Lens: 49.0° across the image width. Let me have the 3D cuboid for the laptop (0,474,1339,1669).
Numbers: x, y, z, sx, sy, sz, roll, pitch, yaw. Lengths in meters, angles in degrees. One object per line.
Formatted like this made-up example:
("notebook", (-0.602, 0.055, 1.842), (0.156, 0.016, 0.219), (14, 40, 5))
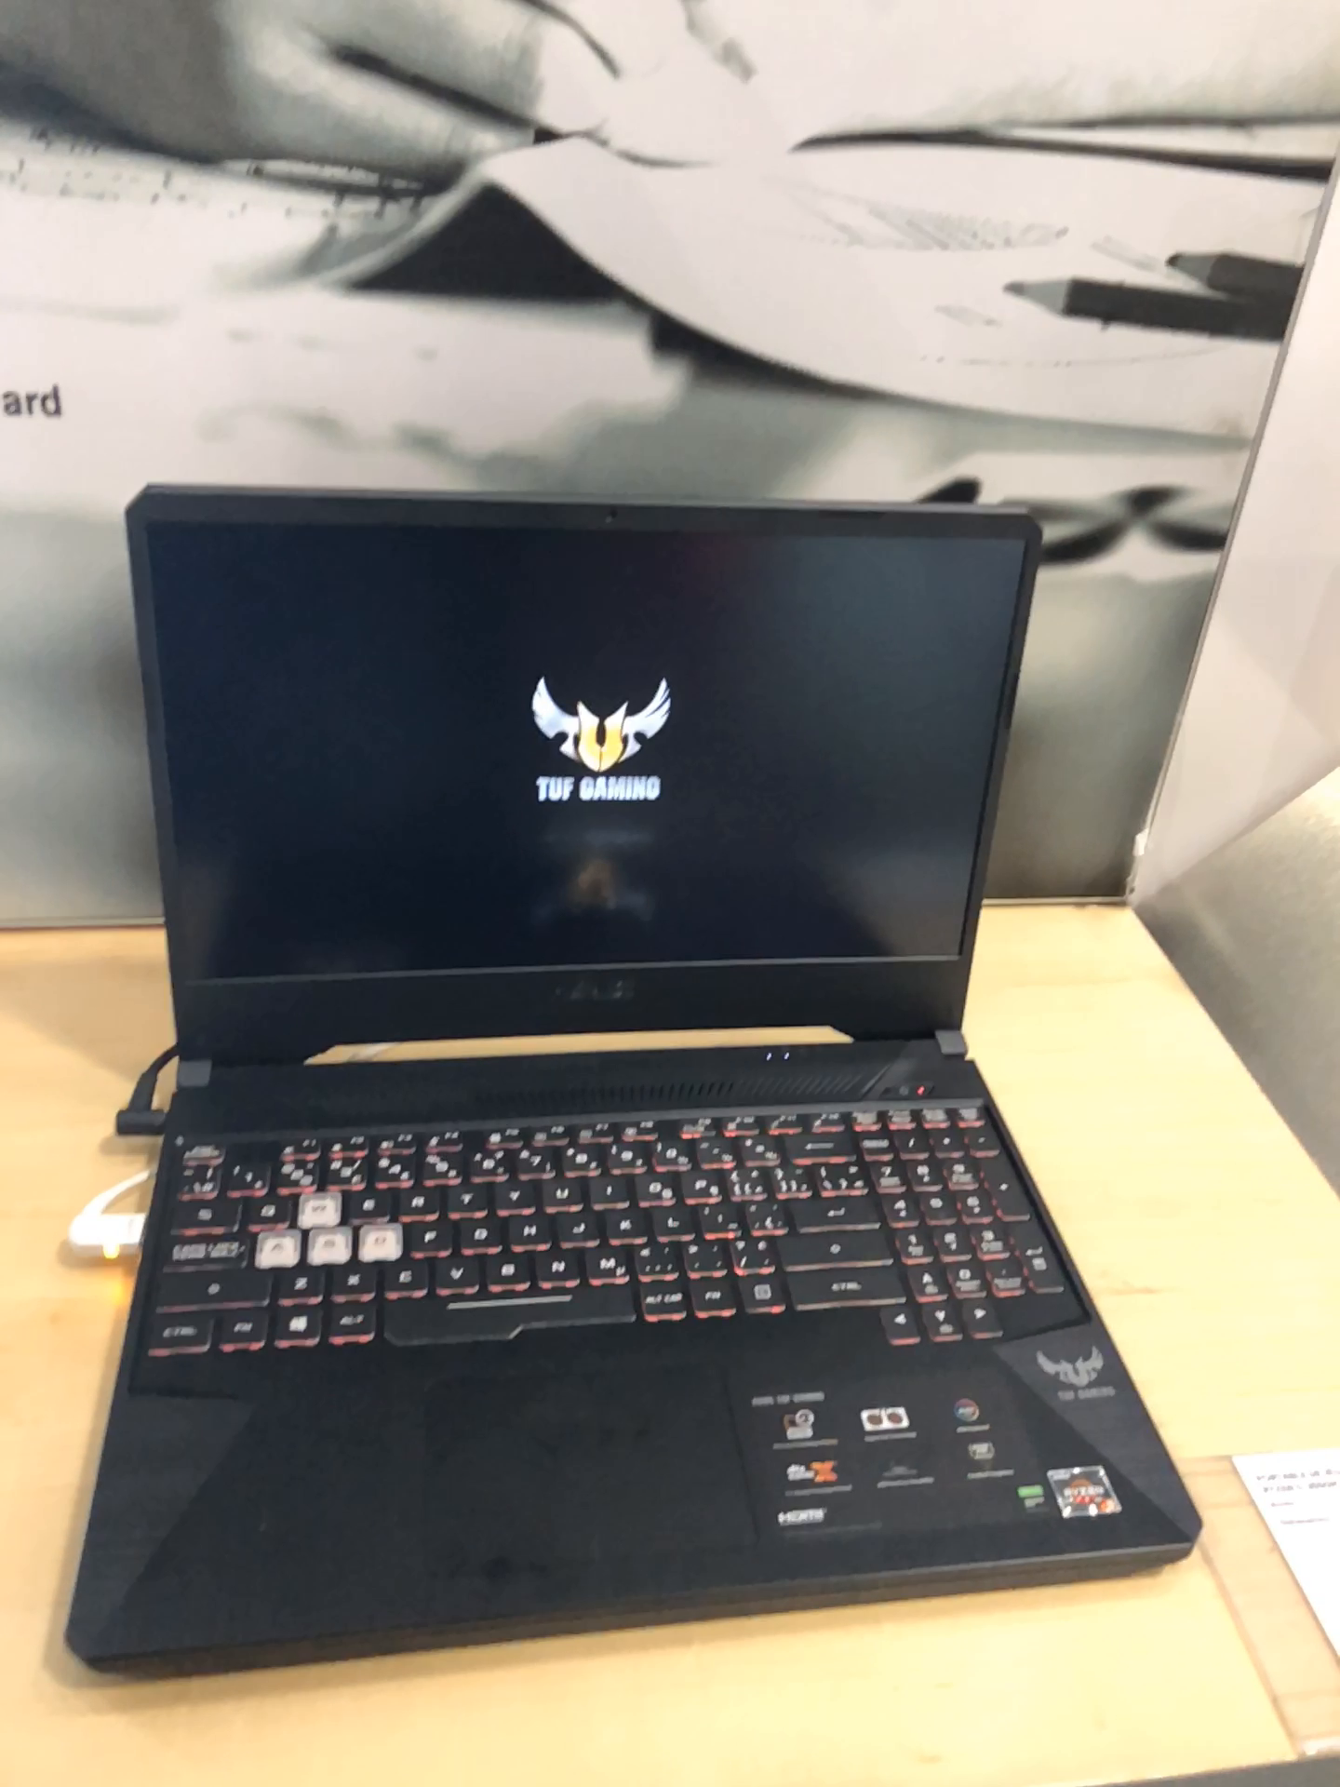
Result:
("laptop", (-0.015, 0.029, 0.516), (0.358, 0.245, 0.310), (-1, 34, -10))
